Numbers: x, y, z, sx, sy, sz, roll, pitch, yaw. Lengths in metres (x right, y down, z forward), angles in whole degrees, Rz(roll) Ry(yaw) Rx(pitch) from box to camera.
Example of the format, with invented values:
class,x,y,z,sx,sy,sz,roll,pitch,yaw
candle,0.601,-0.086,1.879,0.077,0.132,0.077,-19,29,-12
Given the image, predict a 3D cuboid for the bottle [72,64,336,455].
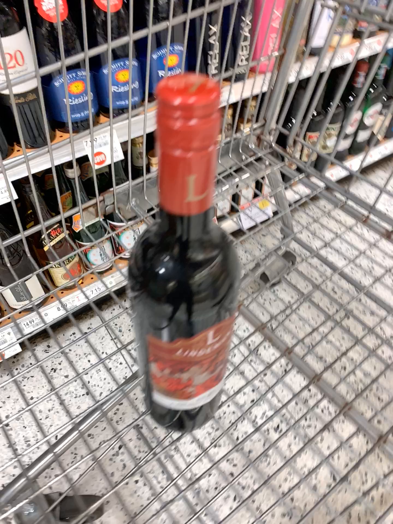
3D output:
class,x,y,z,sx,sy,sz,roll,pitch,yaw
bottle,-0.004,0.030,0.288,0.090,0.287,0.081,-26,54,-24
